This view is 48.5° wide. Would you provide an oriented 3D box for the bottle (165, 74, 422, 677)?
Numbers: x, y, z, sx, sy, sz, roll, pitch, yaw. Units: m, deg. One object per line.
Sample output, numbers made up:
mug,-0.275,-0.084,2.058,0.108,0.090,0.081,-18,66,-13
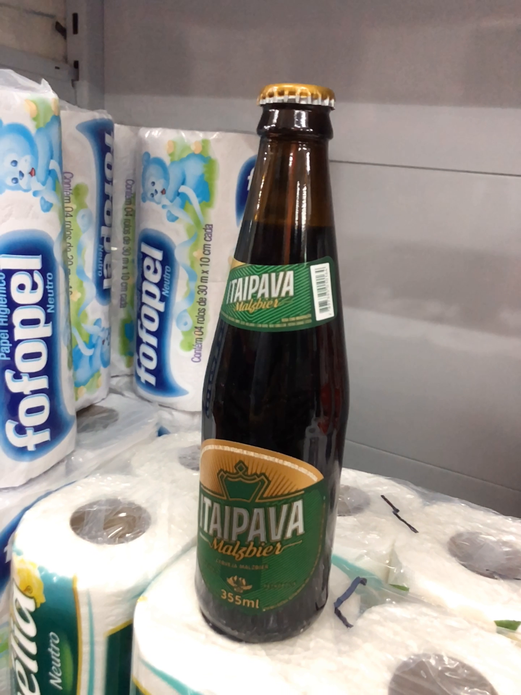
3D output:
bottle,0.010,0.013,0.237,0.070,0.219,0.060,11,18,20
